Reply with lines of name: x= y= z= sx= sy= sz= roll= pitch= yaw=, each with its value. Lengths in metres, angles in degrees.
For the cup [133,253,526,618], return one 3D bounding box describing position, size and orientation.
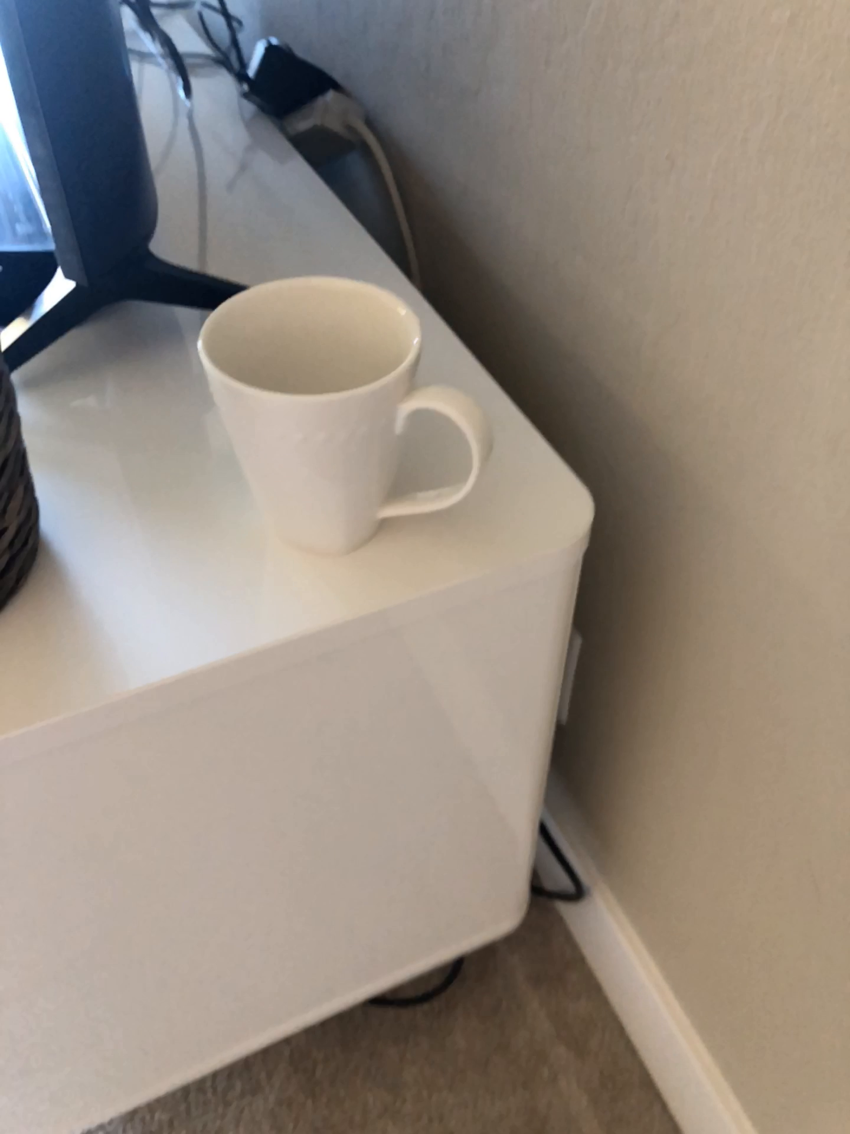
cup: x=-0.037 y=-0.061 z=0.416 sx=0.130 sy=0.090 sz=0.090 roll=22 pitch=49 yaw=20
